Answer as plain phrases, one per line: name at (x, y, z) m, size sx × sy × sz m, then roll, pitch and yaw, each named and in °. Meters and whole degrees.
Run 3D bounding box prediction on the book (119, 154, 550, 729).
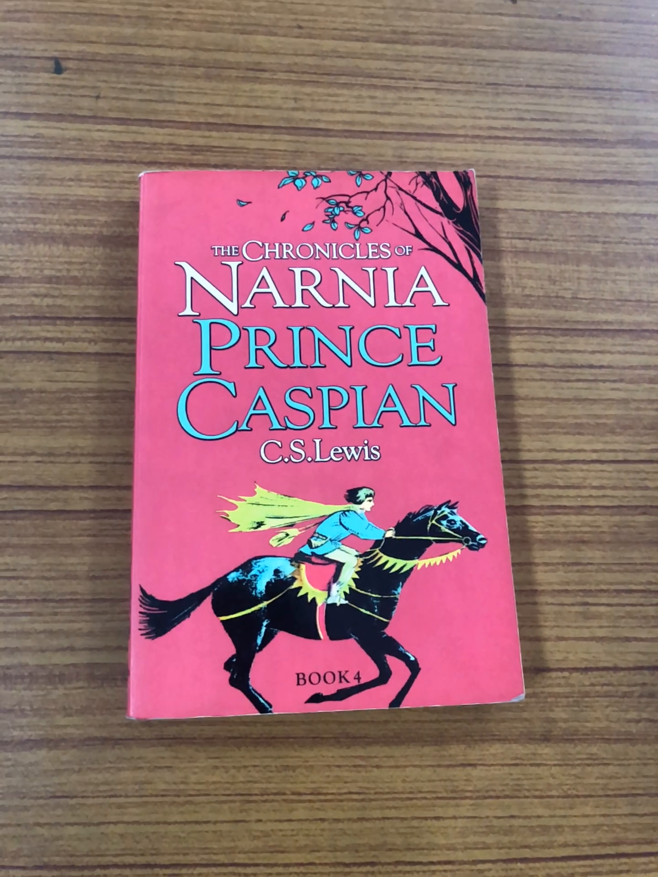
book at (-0.001, -0.005, 0.257) m, size 0.130 × 0.030 × 0.190 m, roll -1°, pitch 77°, yaw -4°
